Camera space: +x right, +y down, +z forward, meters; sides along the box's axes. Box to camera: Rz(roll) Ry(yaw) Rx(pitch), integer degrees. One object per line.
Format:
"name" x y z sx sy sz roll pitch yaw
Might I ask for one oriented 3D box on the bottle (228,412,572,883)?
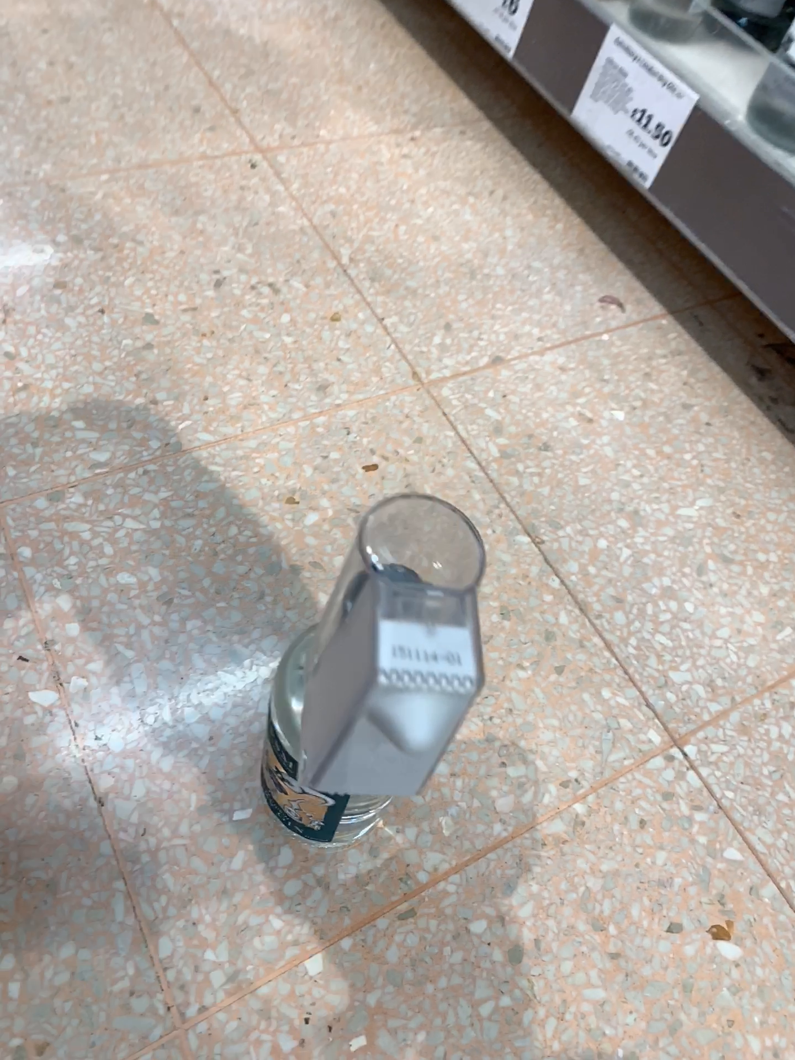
"bottle" -0.018 0.064 0.326 0.069 0.222 0.075 6 55 -8
